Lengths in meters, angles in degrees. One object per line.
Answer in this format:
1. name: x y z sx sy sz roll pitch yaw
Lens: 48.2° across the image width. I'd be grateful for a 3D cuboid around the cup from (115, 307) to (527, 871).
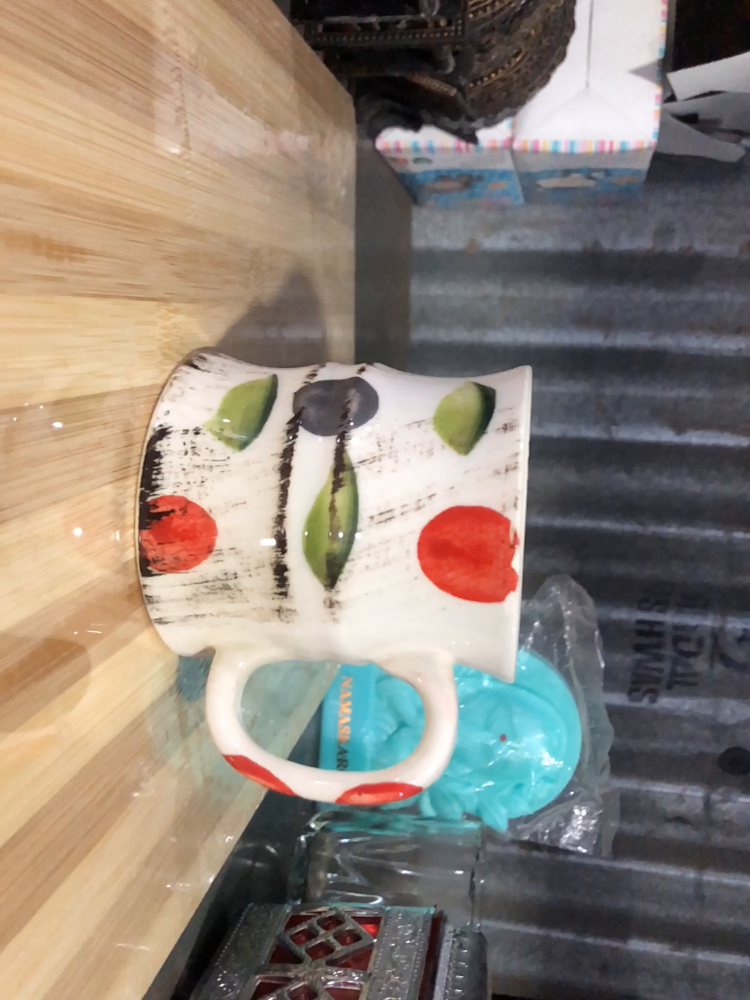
1. cup: -0.007 0.017 0.202 0.060 0.080 0.110 9 85 -81
